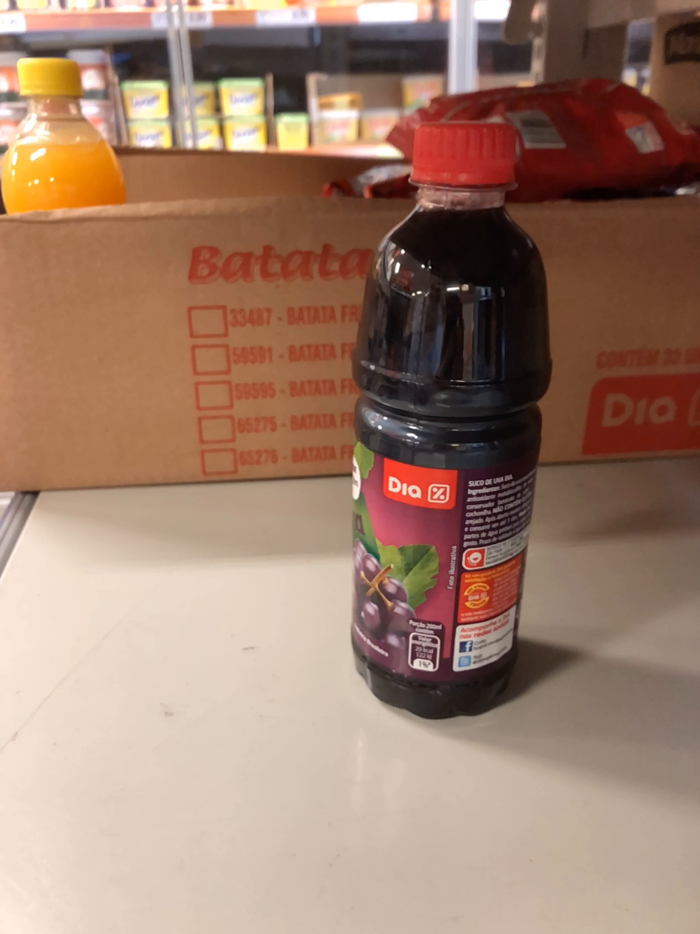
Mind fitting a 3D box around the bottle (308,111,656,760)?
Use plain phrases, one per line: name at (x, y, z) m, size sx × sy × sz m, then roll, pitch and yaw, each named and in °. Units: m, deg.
bottle at (0.038, -0.012, 0.271) m, size 0.070 × 0.199 × 0.080 m, roll -12°, pitch 27°, yaw -18°
